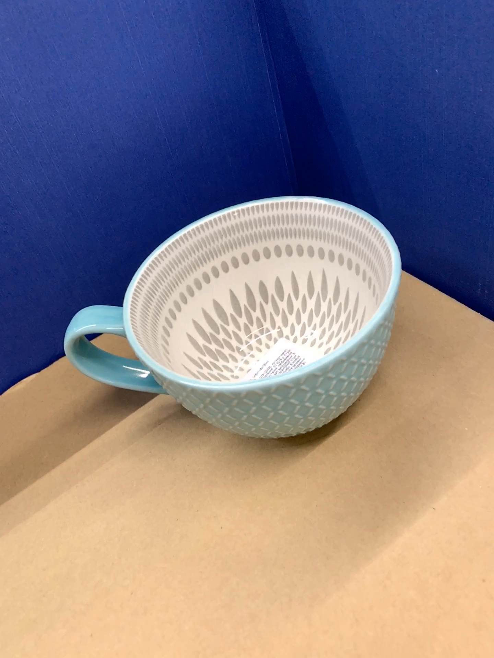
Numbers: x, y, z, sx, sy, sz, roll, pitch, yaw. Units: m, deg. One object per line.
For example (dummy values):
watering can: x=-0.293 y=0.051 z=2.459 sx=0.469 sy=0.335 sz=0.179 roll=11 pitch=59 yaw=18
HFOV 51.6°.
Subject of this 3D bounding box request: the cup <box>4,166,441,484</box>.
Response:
cup: x=-0.006 y=-0.002 z=0.230 sx=0.152 sy=0.059 sz=0.113 roll=-8 pitch=47 yaw=11
